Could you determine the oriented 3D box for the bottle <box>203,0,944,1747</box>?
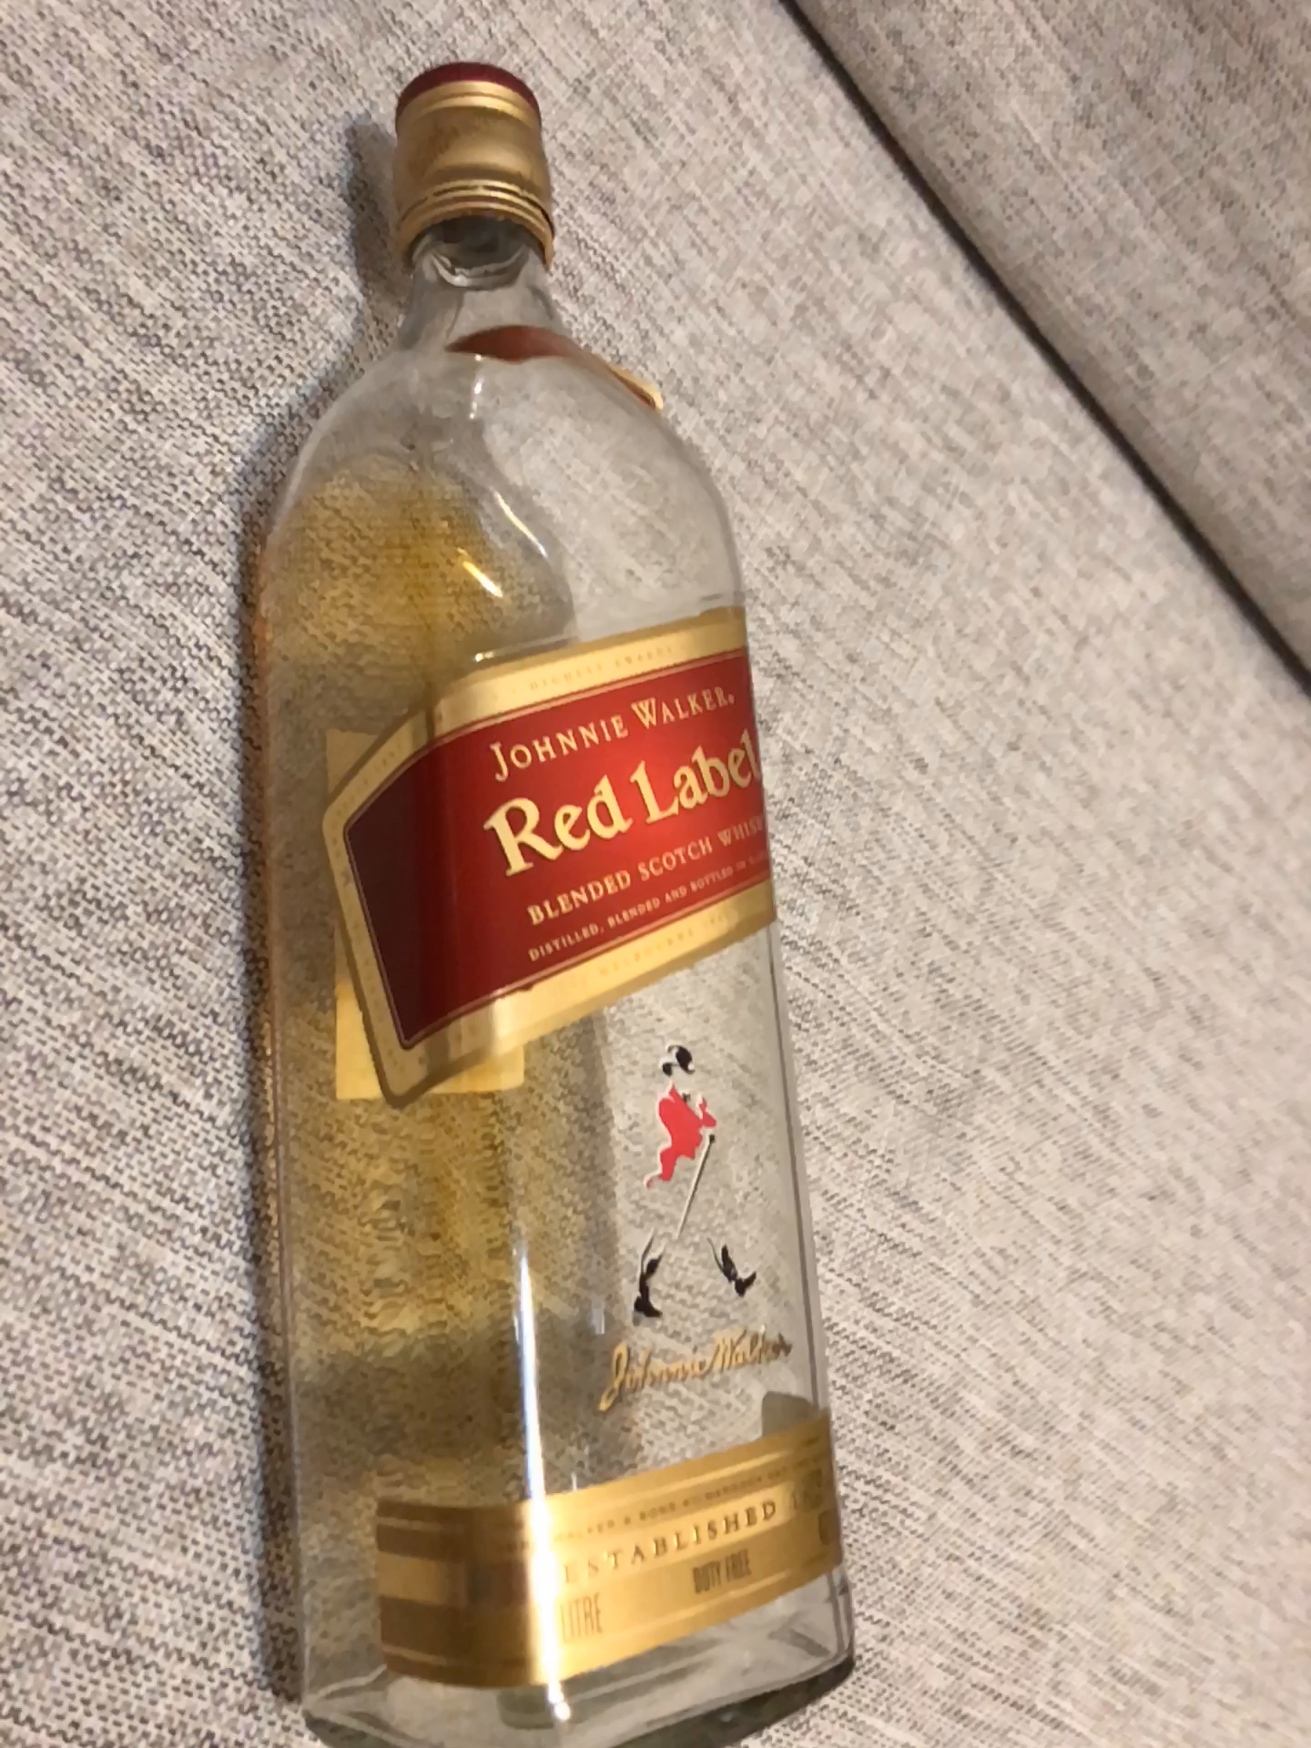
[{"bbox_3d":[-0.020,-0.021,0.259,0.090,0.070,0.310,5,76,-42],"label":"bottle"}]
